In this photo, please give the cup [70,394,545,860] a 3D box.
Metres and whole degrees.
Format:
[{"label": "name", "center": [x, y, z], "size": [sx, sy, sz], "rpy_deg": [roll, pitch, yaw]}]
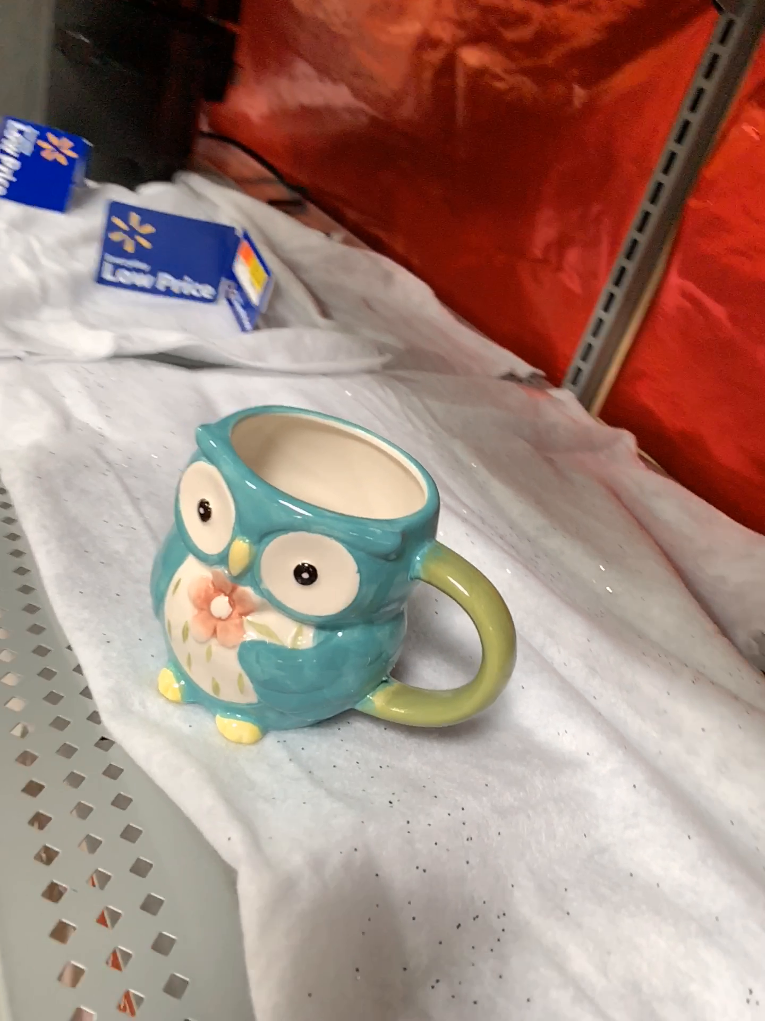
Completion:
[{"label": "cup", "center": [-0.027, 0.032, 0.303], "size": [0.127, 0.087, 0.108], "rpy_deg": [28, 31, 17]}]
